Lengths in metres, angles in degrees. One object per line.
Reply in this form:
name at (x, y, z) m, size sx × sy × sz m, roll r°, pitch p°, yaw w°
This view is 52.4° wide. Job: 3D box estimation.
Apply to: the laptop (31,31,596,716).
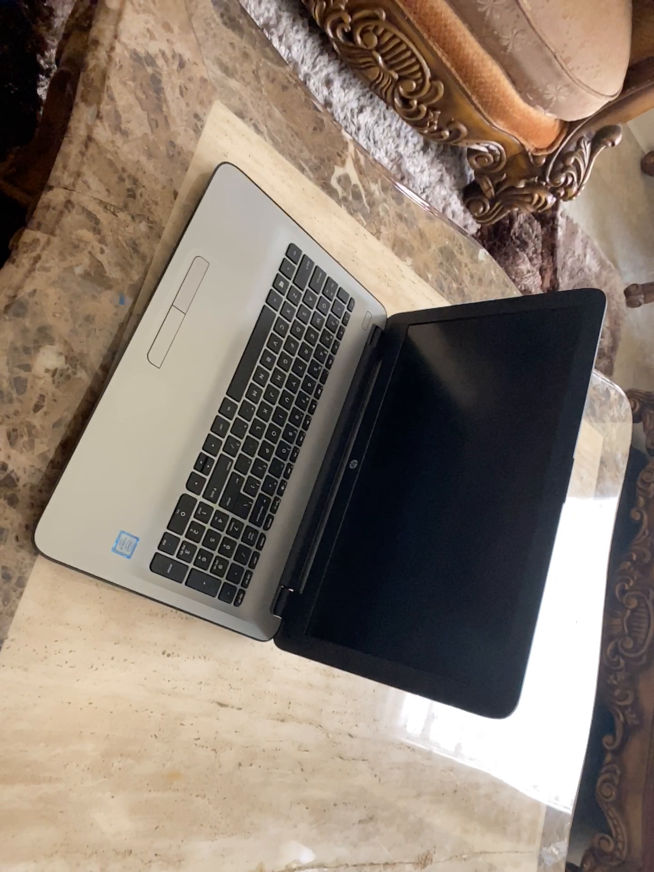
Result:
laptop at (0.014, -0.027, 0.532) m, size 0.266 × 0.240 × 0.372 m, roll 36°, pitch 65°, yaw -38°
